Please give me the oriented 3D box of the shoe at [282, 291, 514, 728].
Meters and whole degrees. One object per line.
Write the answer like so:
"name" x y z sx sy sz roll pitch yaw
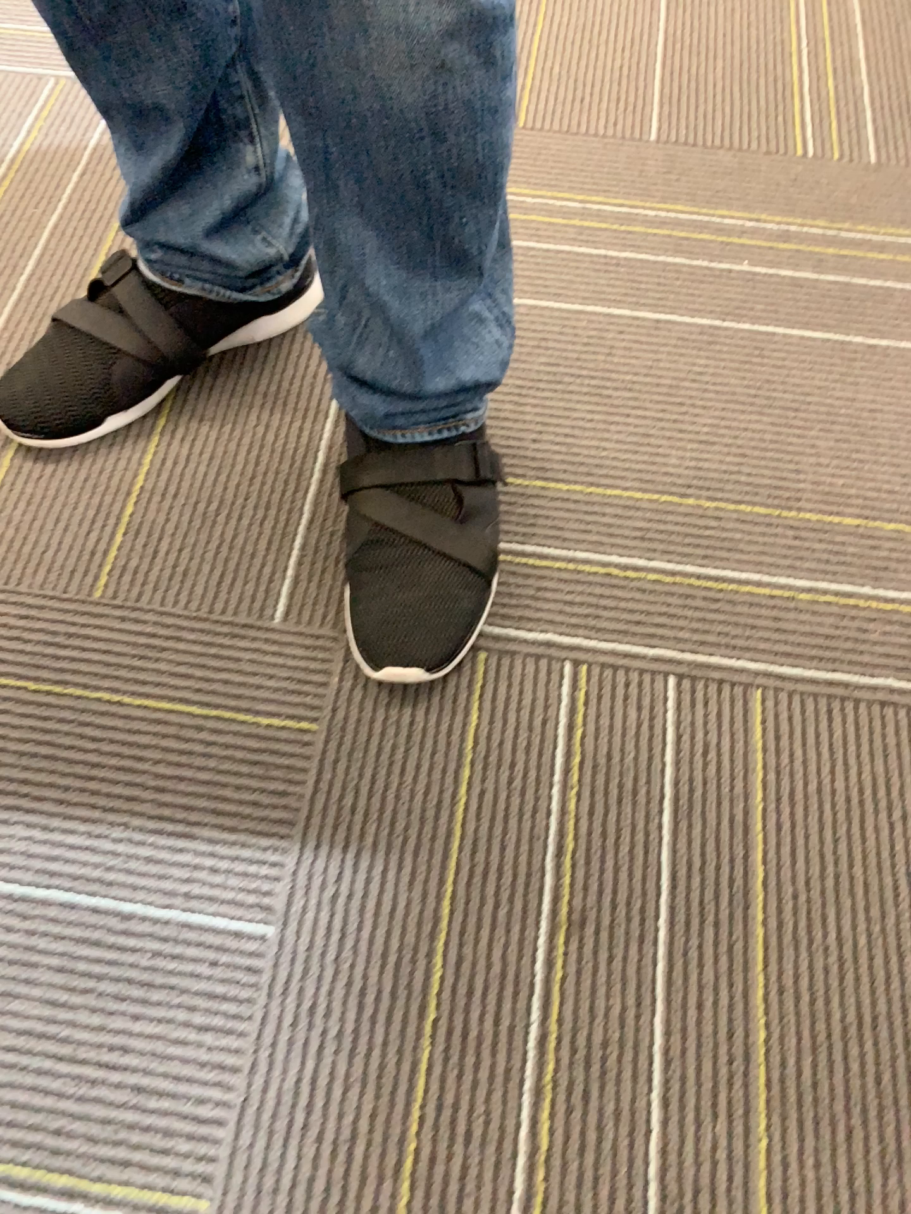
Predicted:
"shoe" -0.032 -0.078 0.692 0.120 0.120 0.301 6 61 2

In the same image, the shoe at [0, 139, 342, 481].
"shoe" -0.257 -0.249 0.767 0.300 0.110 0.120 -34 67 -18
